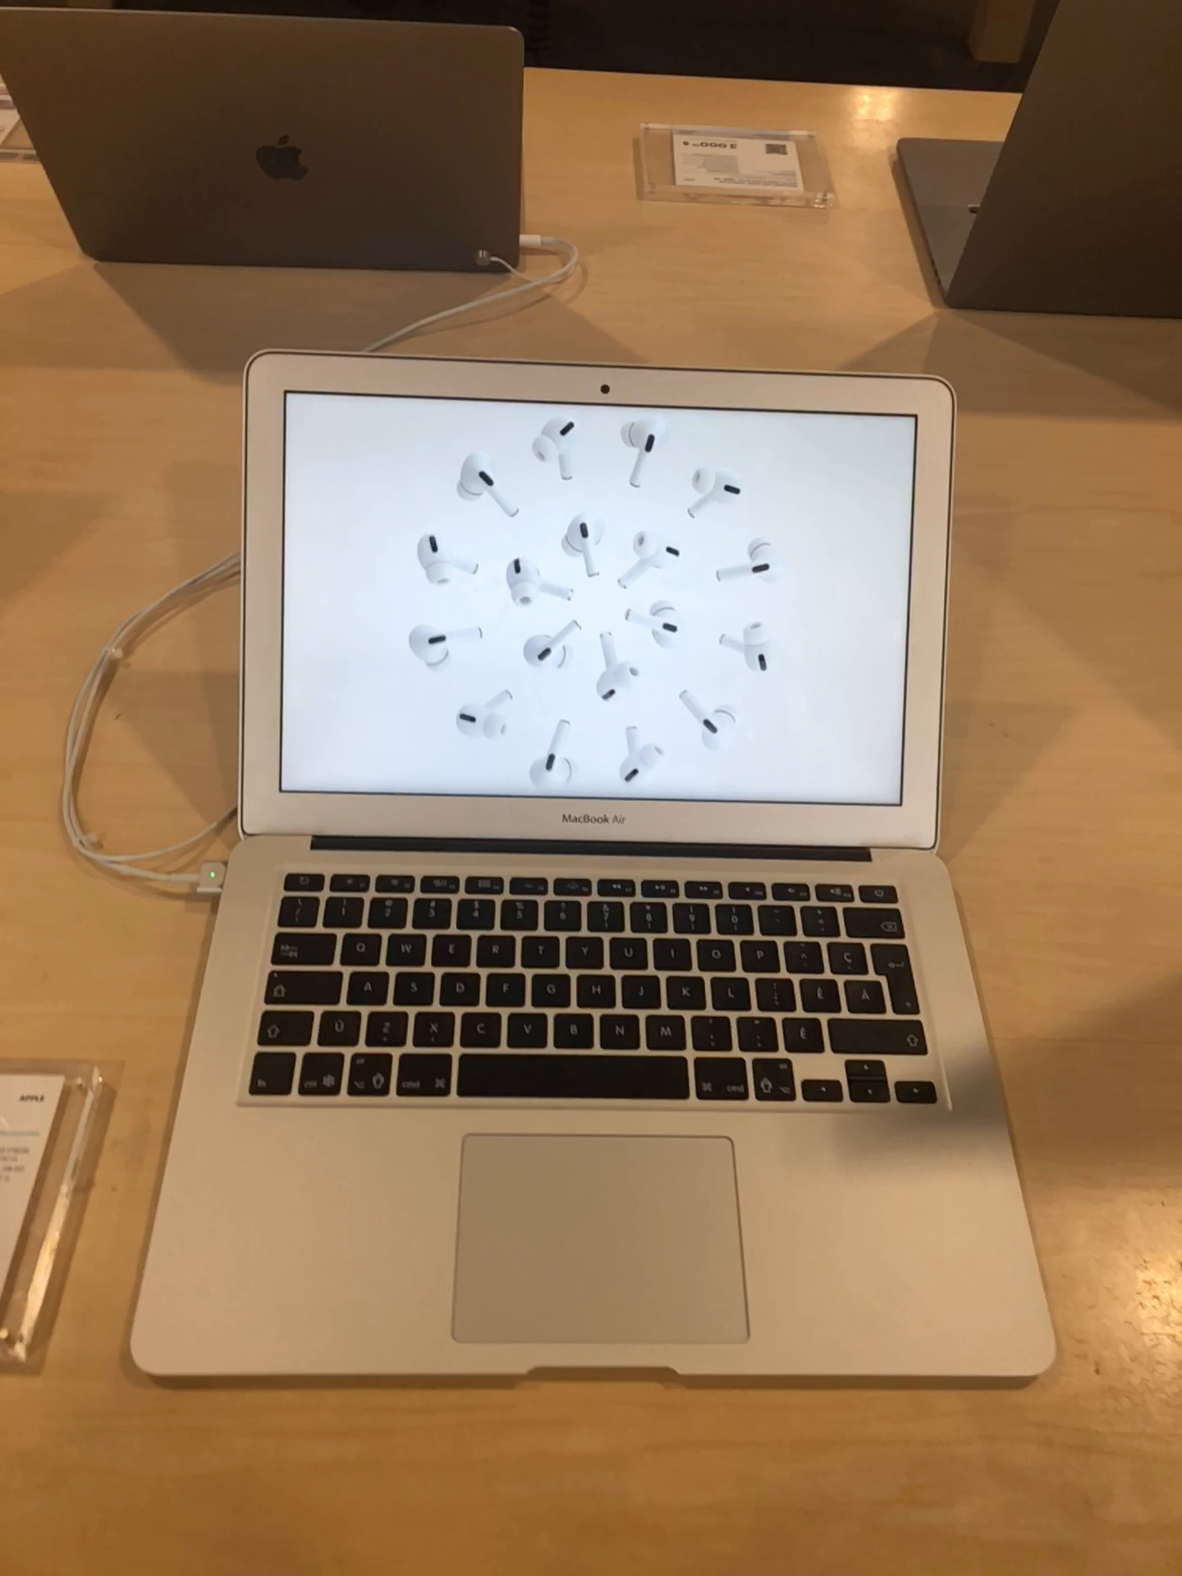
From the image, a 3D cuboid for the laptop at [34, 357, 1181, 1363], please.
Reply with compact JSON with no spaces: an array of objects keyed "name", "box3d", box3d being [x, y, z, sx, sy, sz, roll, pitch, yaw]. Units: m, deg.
[{"name":"laptop","box3d":[0.004,0.006,0.504,0.302,0.137,0.372,1,51,-3]}]
